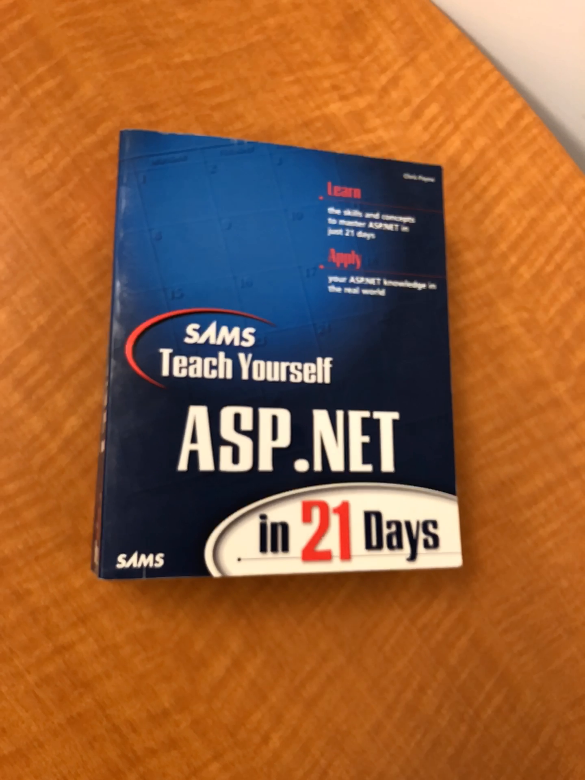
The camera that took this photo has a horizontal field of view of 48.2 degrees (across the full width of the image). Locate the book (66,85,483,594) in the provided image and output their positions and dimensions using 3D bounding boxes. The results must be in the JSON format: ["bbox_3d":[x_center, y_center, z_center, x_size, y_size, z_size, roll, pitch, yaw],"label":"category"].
[{"bbox_3d":[-0.005,-0.018,0.359,0.200,0.070,0.240,5,80,-15],"label":"book"}]
